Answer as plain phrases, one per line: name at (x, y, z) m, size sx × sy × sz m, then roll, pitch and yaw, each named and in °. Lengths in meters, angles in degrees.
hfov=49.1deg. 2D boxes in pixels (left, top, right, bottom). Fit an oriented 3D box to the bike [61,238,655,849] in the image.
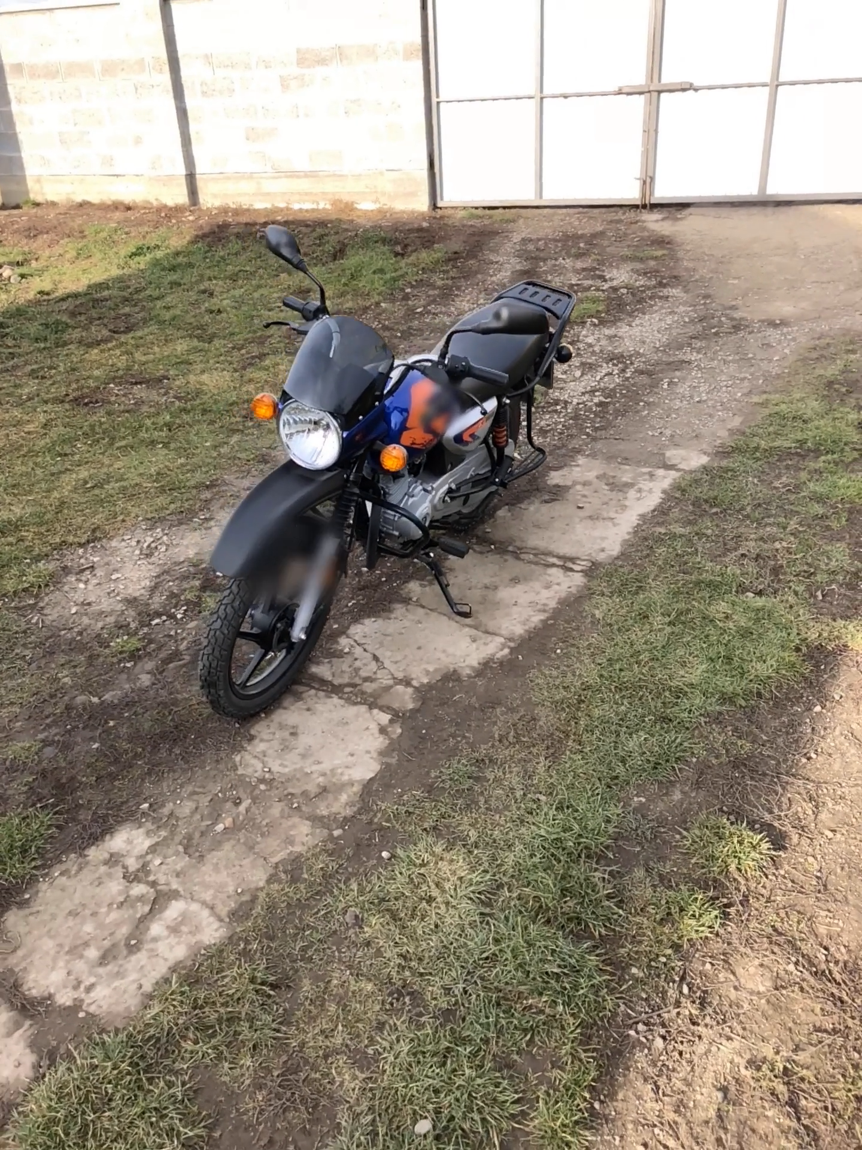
bike at (-0.038, -0.288, 2.905) m, size 0.807 × 1.050 × 1.789 m, roll 13°, pitch 34°, yaw 27°
